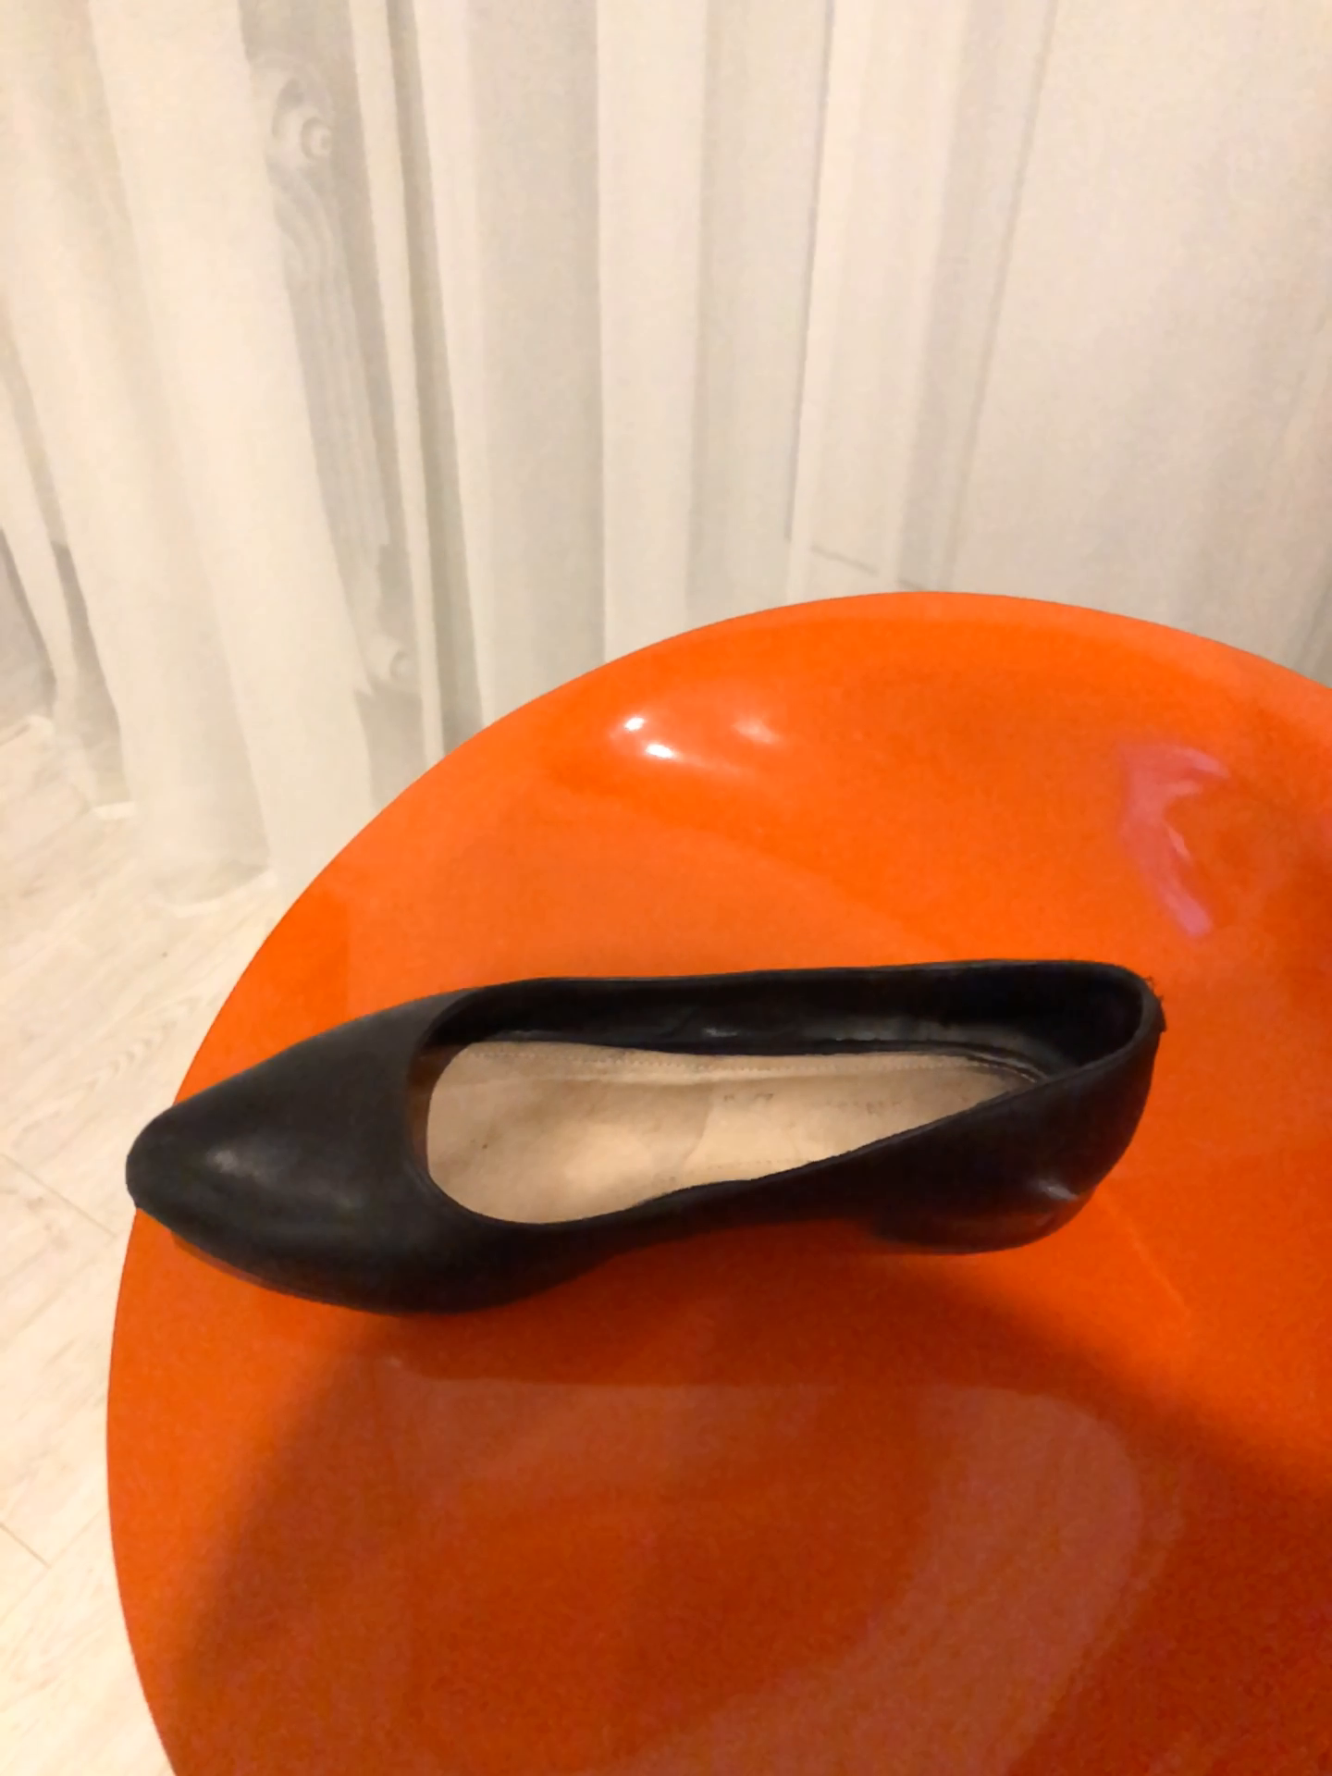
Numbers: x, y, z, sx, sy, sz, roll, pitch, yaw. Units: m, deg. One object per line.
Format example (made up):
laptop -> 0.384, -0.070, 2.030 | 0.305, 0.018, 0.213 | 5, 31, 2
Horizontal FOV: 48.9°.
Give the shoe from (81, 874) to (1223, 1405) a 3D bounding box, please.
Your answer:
shoe -> -0.004, 0.065, 0.392 | 0.260, 0.079, 0.091 | -4, 46, -5
